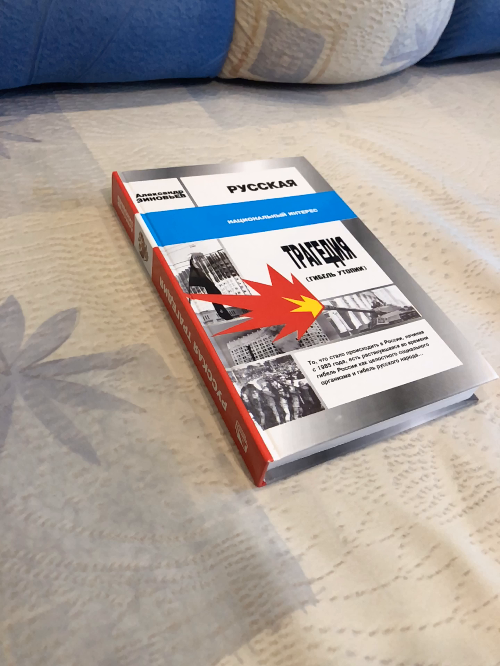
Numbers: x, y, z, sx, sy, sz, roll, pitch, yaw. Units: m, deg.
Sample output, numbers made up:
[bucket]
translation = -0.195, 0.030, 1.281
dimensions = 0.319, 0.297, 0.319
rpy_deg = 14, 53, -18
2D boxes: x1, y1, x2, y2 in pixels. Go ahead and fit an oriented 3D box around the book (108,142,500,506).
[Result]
[book]
translation = 0.029, -0.029, 0.312
dimensions = 0.160, 0.040, 0.201
rpy_deg = -14, 54, -24
